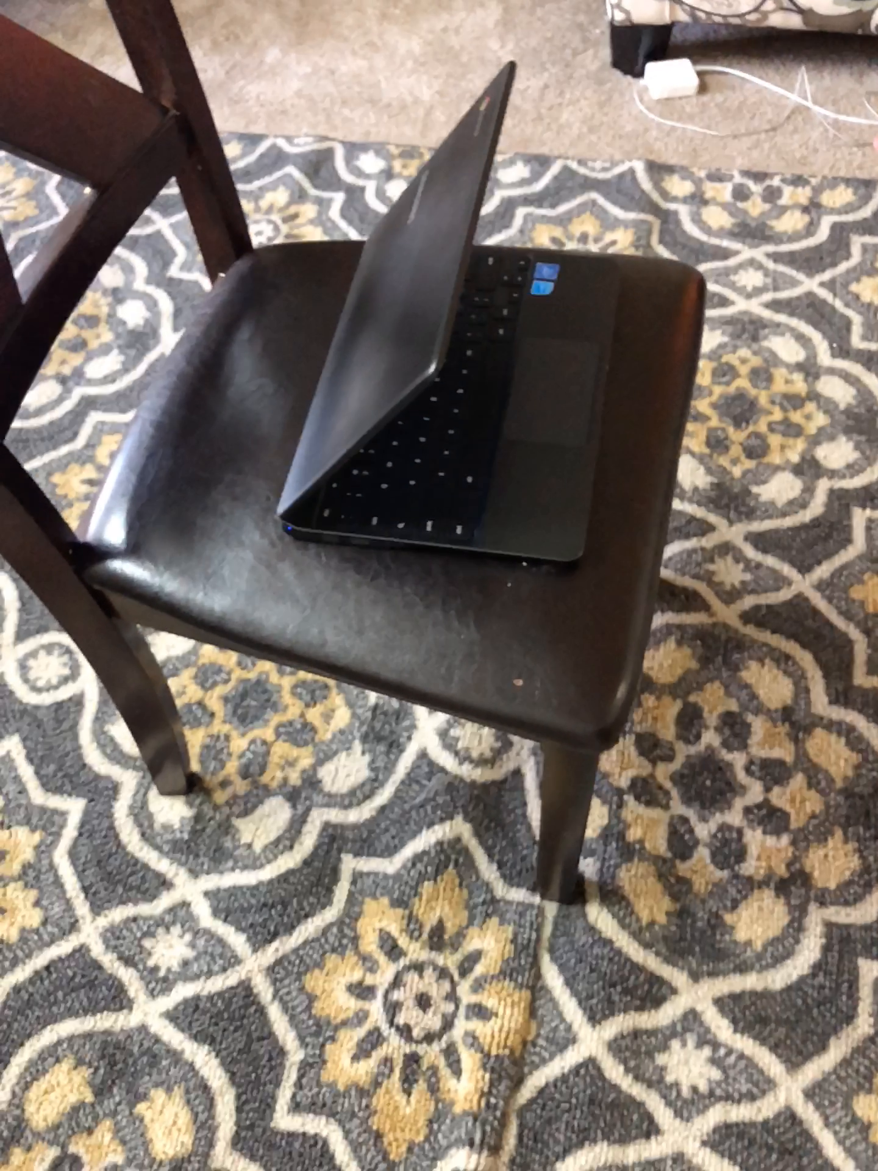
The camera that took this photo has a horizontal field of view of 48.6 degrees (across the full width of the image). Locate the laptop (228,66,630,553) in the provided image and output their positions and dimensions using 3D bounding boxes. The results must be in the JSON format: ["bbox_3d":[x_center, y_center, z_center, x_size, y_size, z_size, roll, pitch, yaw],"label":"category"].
[{"bbox_3d":[0.011,-0.184,0.630,0.191,0.155,0.263,7,57,8],"label":"laptop"}]
